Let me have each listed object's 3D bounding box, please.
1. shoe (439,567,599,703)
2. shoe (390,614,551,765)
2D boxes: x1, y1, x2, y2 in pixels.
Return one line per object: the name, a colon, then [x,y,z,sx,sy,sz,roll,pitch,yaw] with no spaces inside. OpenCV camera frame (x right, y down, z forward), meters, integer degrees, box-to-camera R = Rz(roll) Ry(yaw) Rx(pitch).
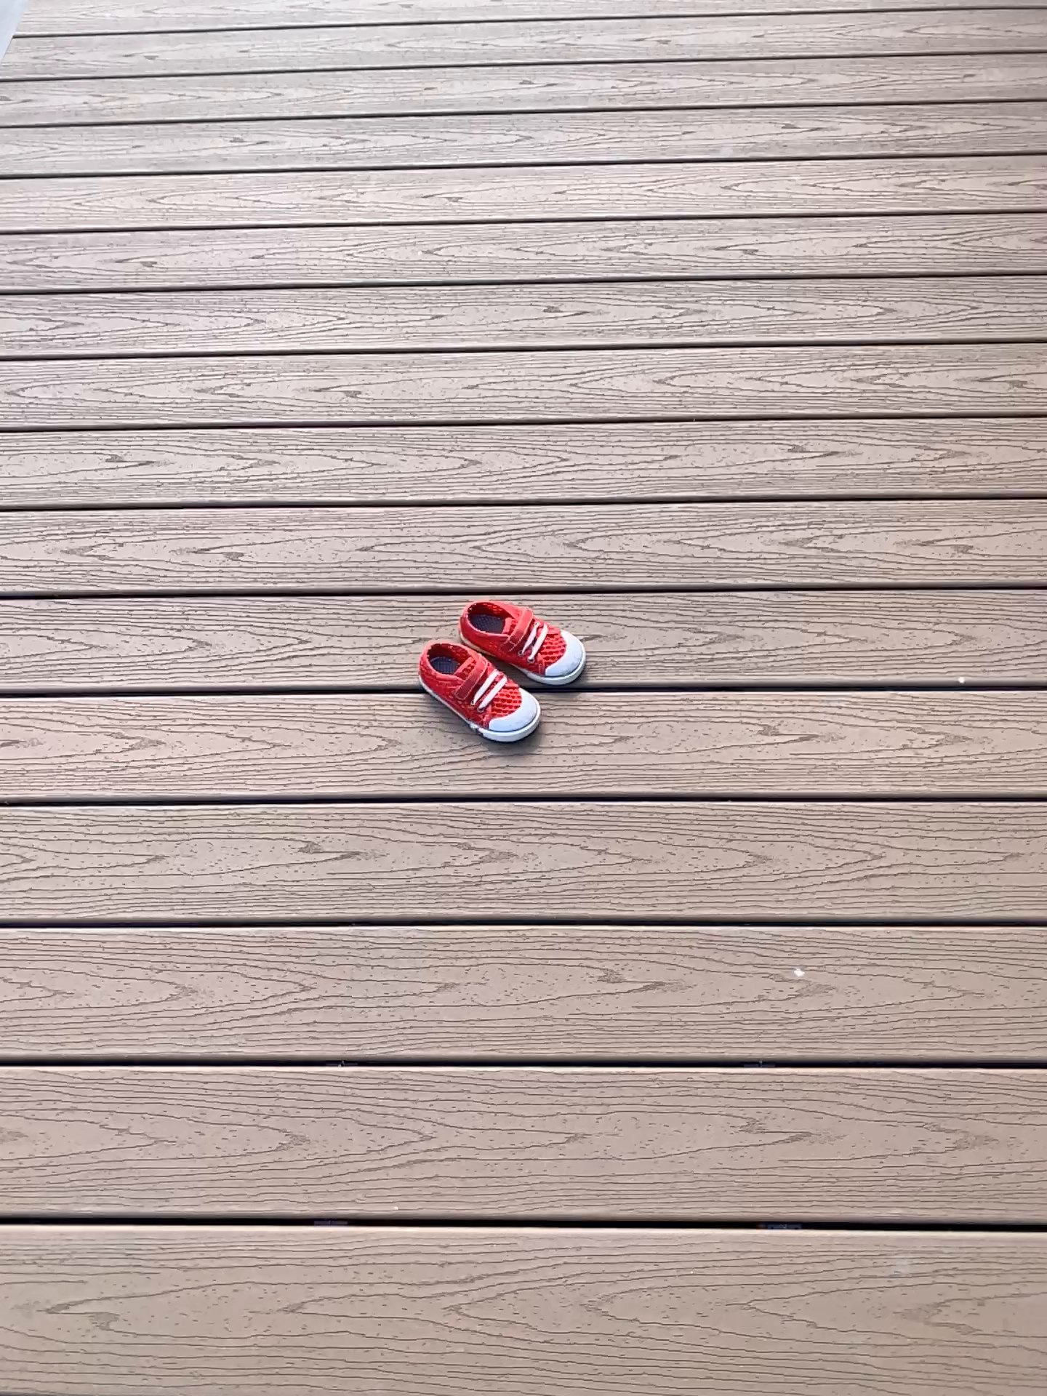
shoe: [-0.006,-0.082,1.367,0.180,0.060,0.090,27,64,17]
shoe: [-0.065,-0.012,1.323,0.180,0.060,0.090,35,67,20]
